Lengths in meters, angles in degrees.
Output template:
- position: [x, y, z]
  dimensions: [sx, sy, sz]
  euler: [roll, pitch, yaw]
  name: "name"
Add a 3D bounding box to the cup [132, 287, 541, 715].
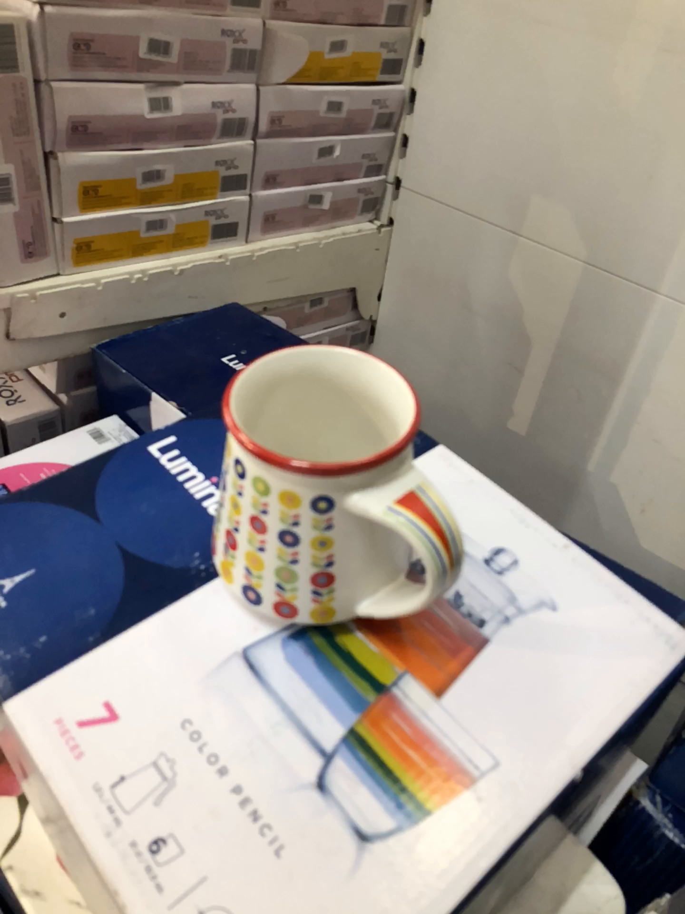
- position: [-0.008, 0.009, 0.297]
  dimensions: [0.080, 0.089, 0.130]
  euler: [-30, 50, -32]
  name: "cup"
